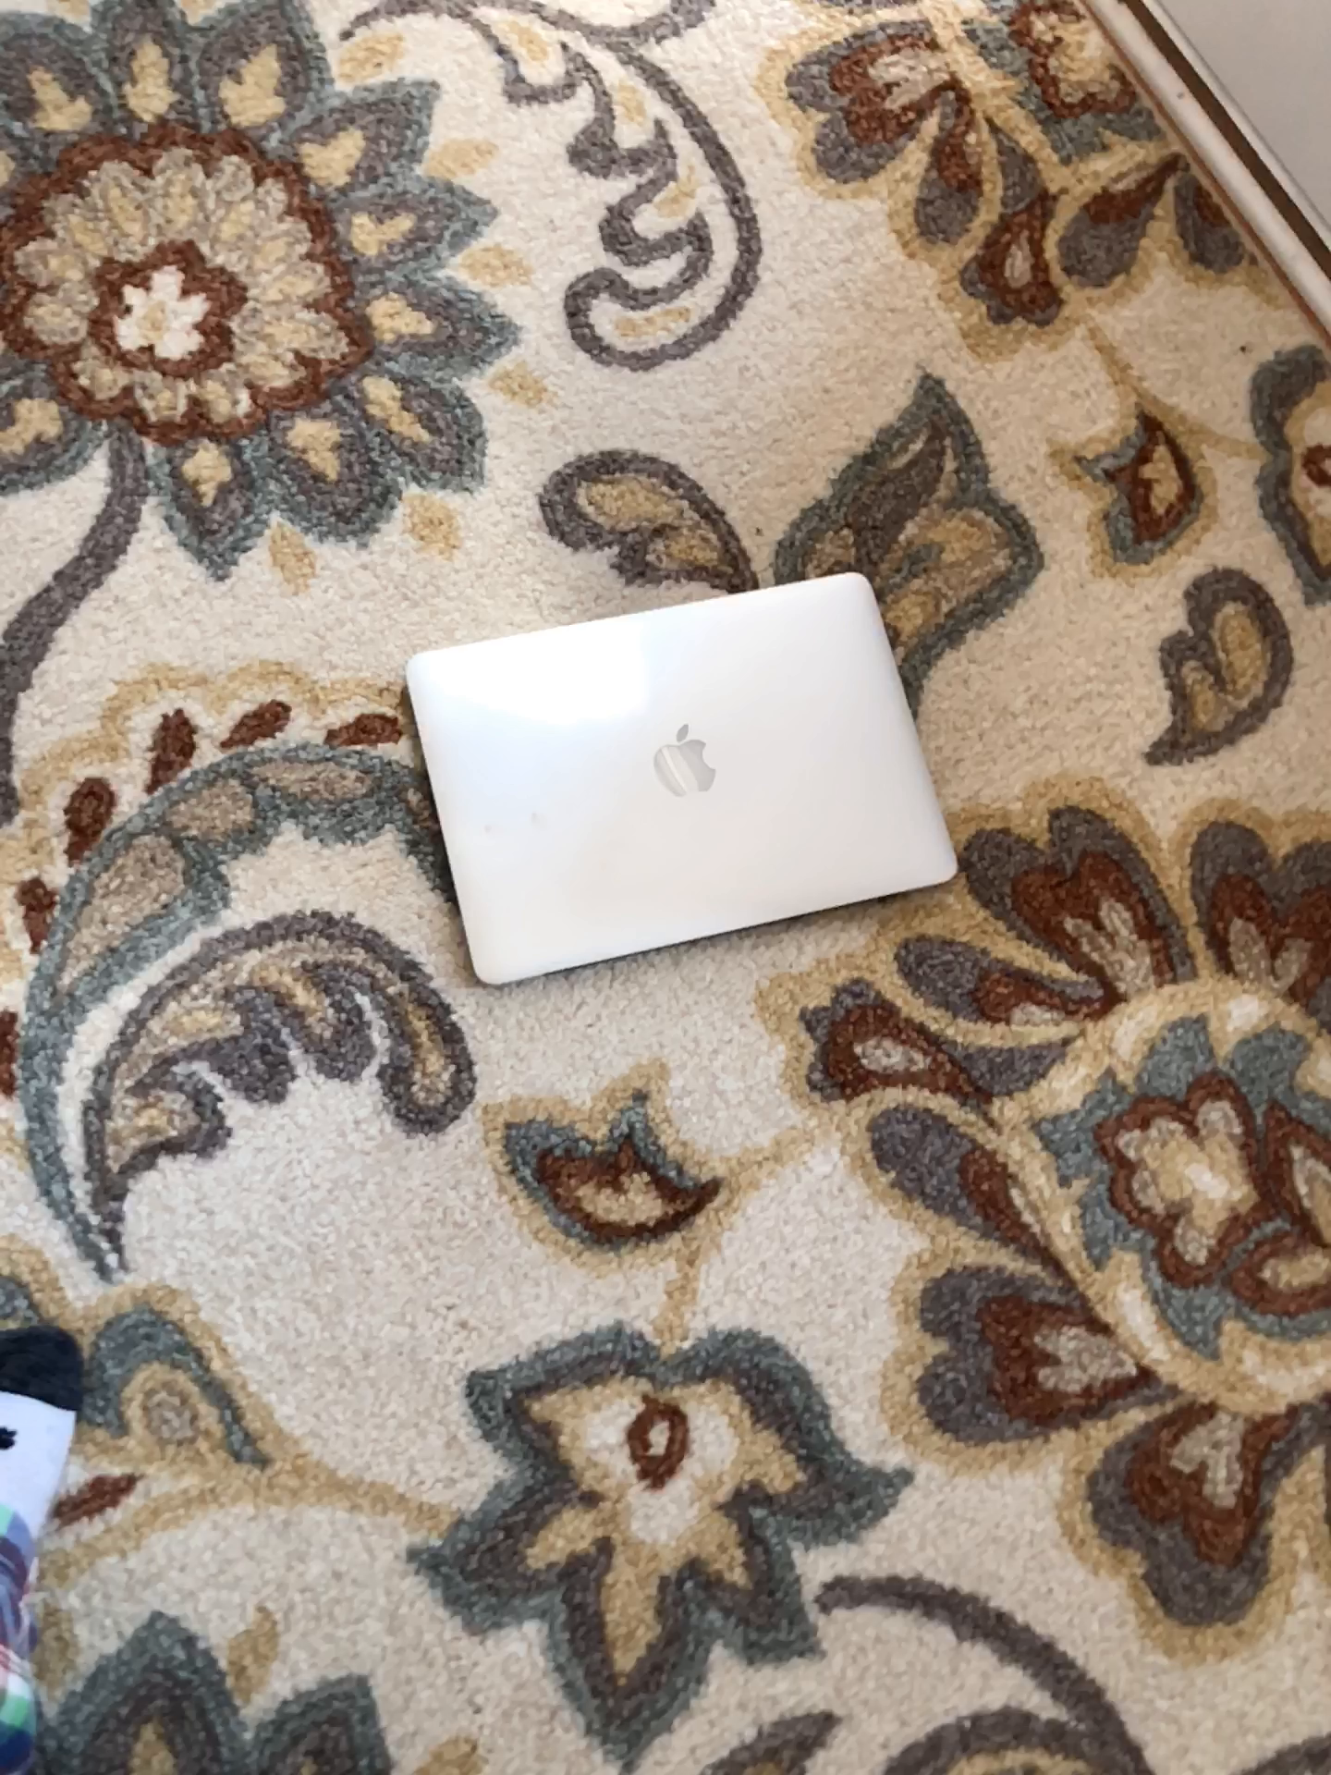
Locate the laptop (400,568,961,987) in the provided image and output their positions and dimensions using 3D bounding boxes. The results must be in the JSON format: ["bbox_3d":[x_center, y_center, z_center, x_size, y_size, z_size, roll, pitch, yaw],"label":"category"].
[{"bbox_3d":[0.009,-0.073,0.879,0.295,0.001,0.207,-13,77,-9],"label":"laptop"}]
